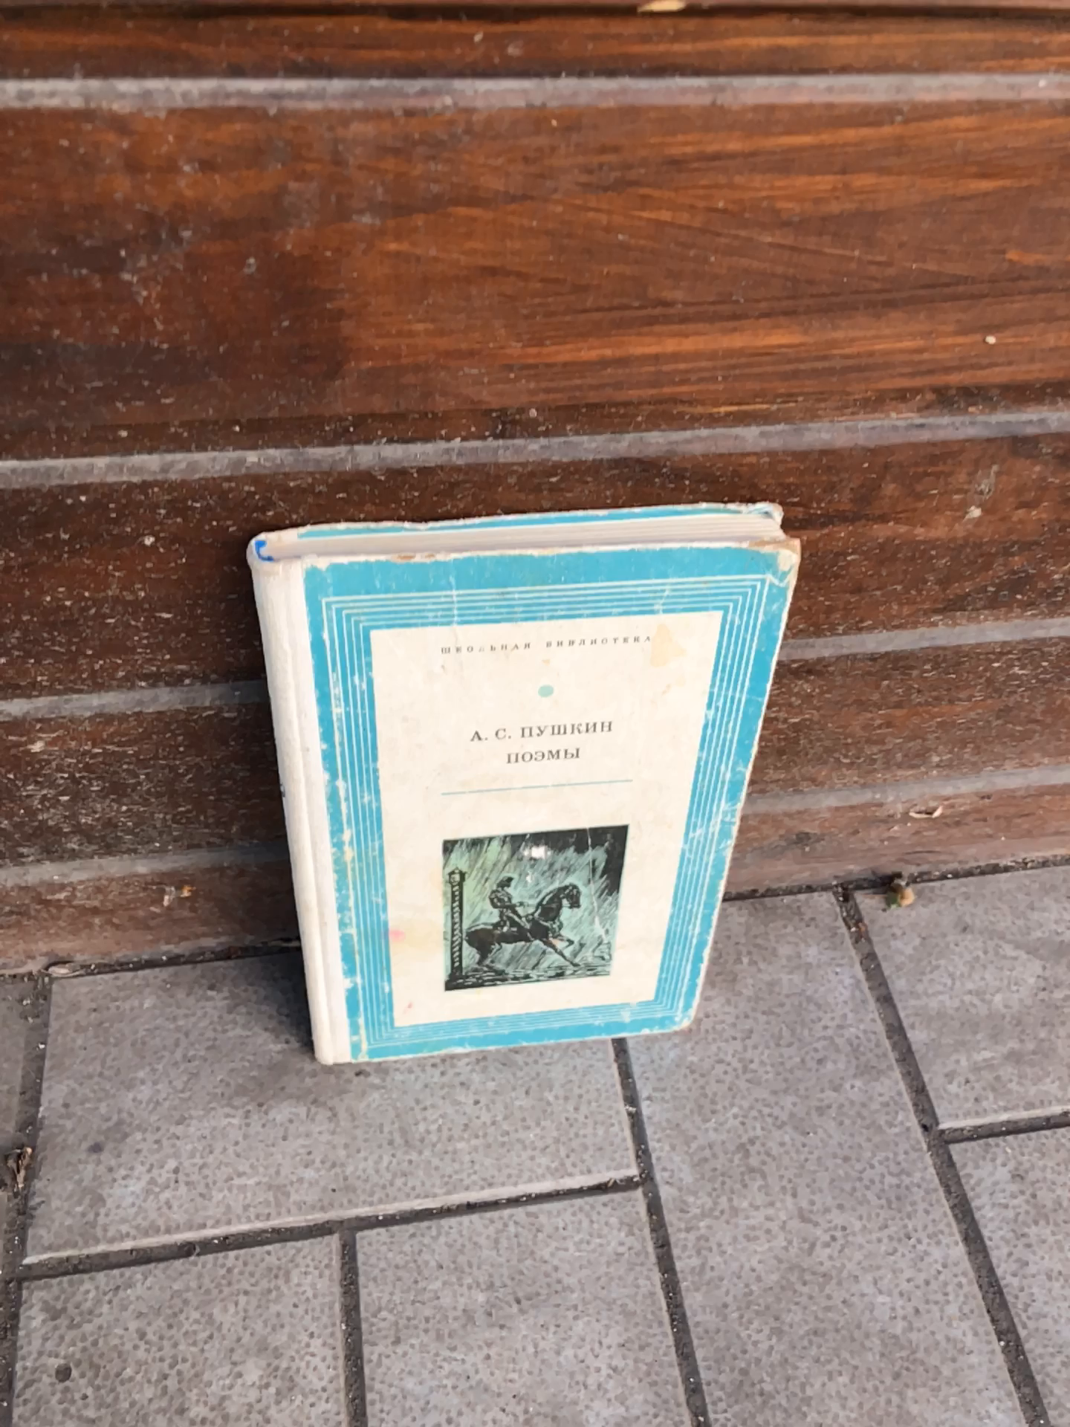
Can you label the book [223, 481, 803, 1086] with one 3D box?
[{"bbox_3d":[-0.008,0.030,0.334,0.130,0.190,0.030,-4,40,-8],"label":"book"}]
